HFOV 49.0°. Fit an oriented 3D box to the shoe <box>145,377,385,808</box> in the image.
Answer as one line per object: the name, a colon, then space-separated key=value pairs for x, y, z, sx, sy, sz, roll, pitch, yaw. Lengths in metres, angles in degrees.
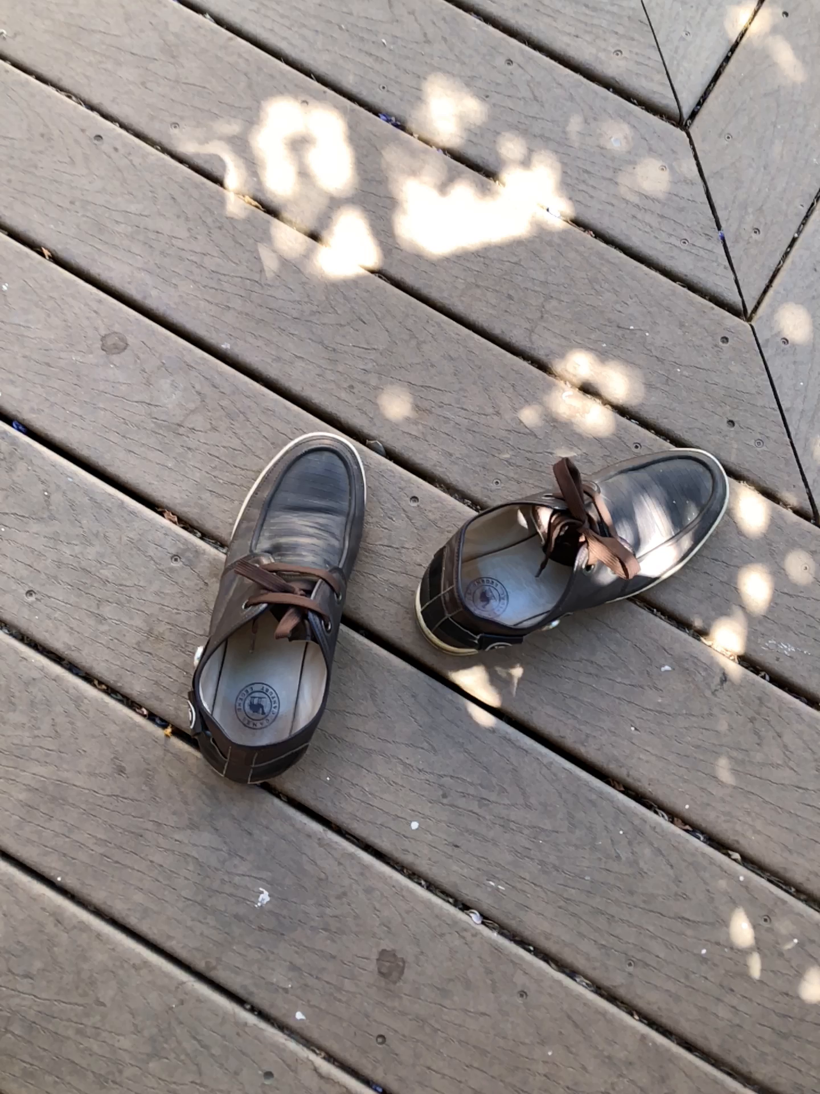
shoe: x=-0.105 y=0.038 z=0.712 sx=0.108 sy=0.121 sz=0.301 roll=12 pitch=77 yaw=-2

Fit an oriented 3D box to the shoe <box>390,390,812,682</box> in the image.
shoe: x=0.146 y=-0.005 z=0.740 sx=0.303 sy=0.121 sz=0.108 roll=-23 pitch=80 yaw=-9
